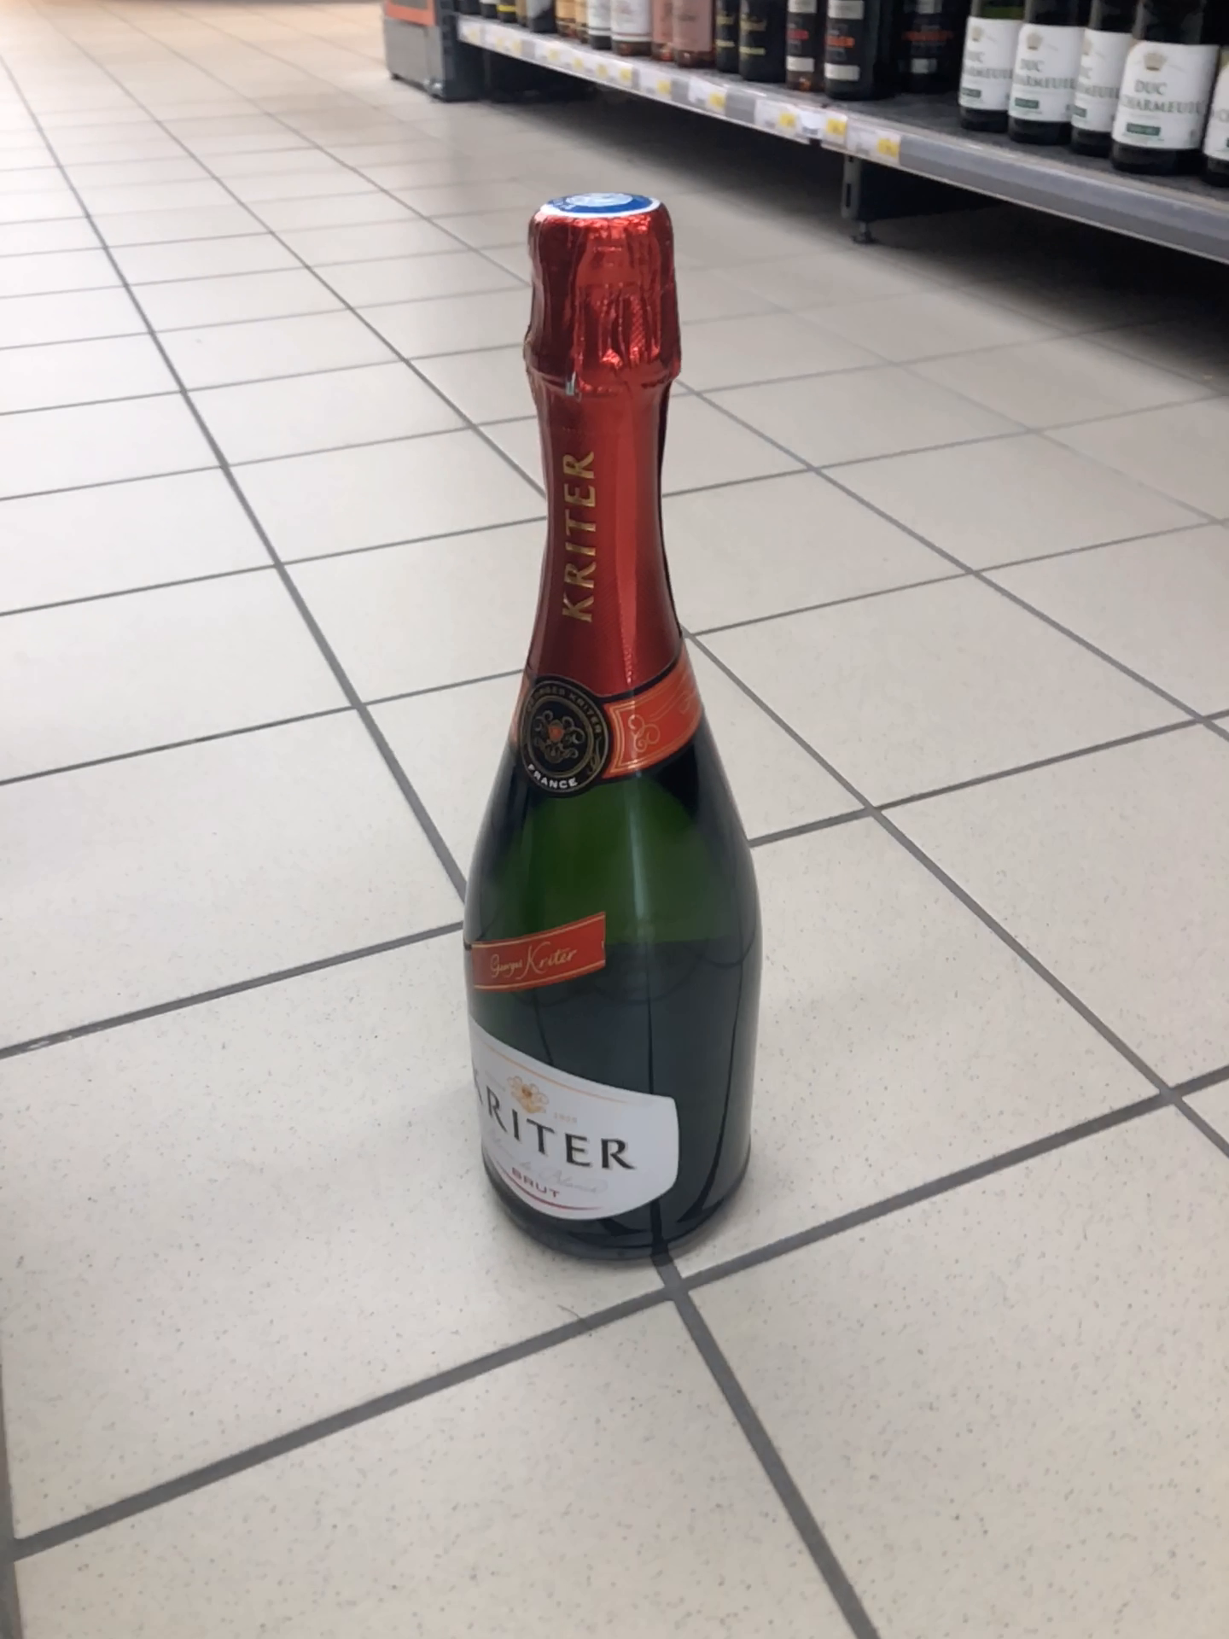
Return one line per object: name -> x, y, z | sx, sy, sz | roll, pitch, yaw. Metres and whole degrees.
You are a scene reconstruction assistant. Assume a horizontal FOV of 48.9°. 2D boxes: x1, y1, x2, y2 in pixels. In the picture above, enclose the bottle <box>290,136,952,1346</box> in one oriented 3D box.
bottle -> 0.005, -0.012, 0.369 | 0.100, 0.298, 0.101 | -1, 33, 0
